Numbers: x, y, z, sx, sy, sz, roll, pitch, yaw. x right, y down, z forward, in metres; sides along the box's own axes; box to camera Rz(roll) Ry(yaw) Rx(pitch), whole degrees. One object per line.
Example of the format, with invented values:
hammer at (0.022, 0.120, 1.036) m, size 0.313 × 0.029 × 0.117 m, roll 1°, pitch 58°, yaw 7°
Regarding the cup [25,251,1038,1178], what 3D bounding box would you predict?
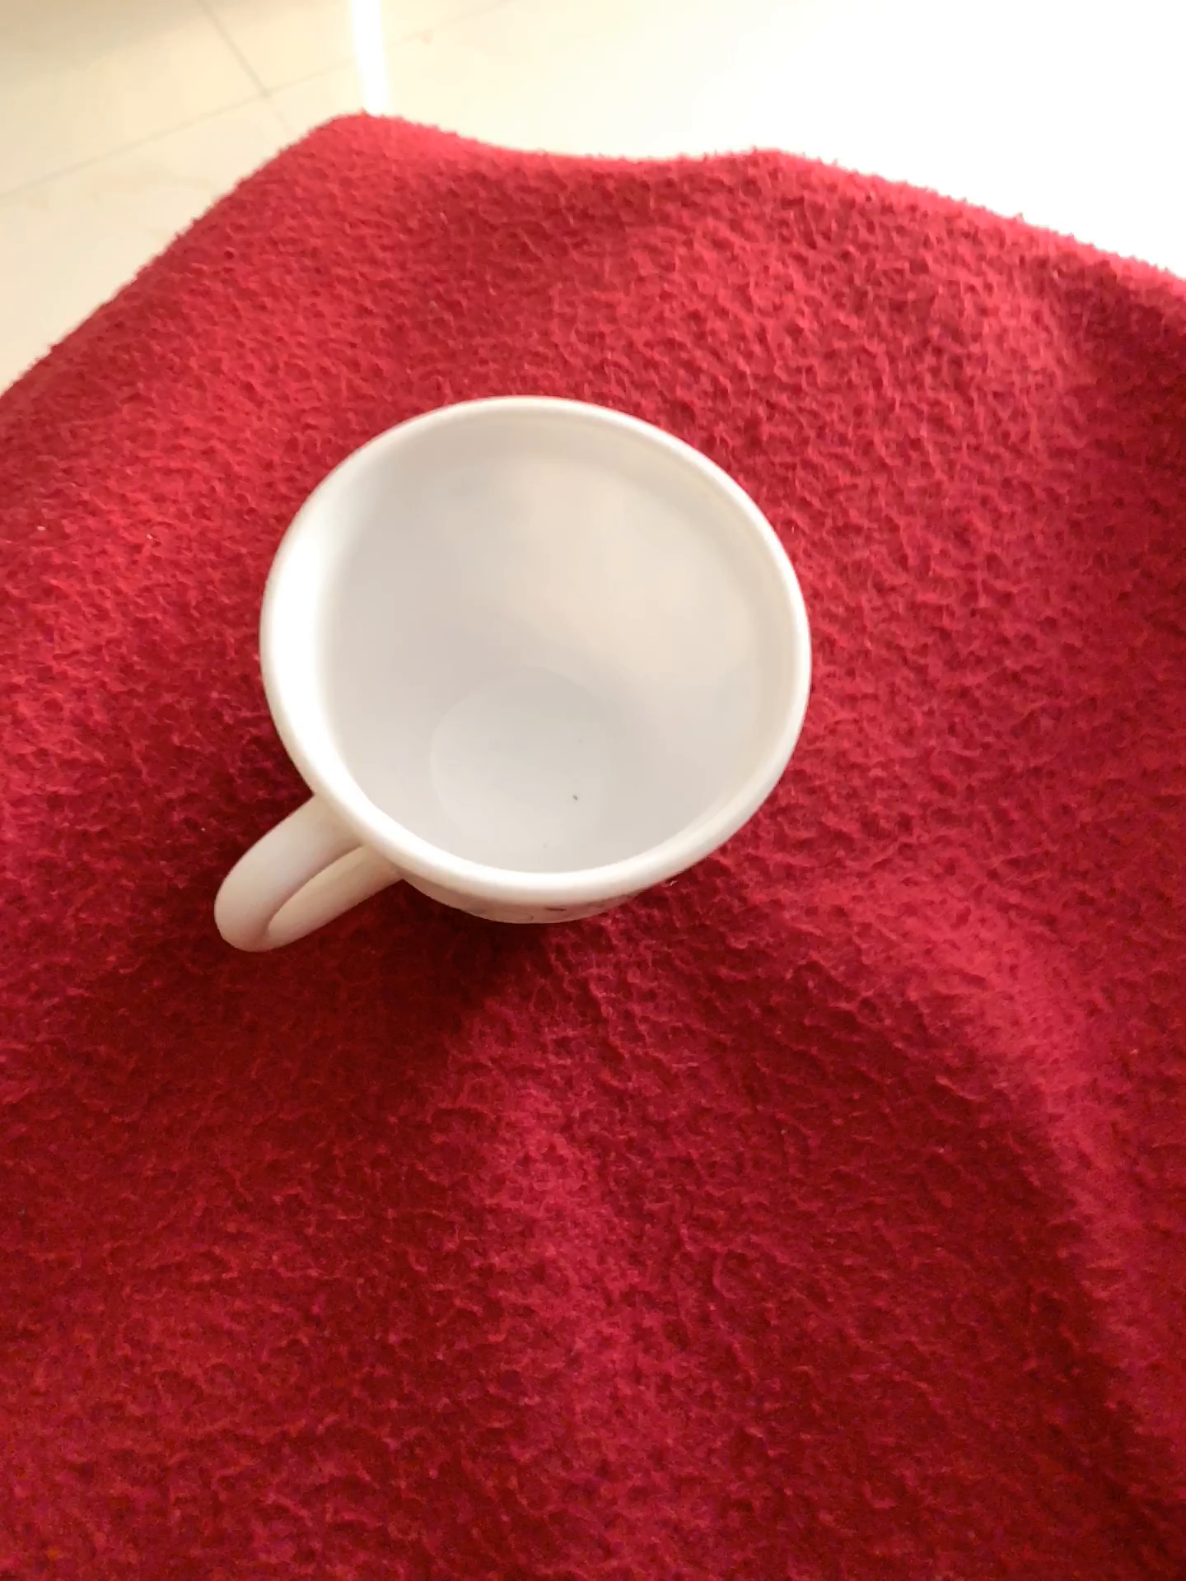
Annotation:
cup at (-0.008, -0.011, 0.180) m, size 0.100 × 0.050 × 0.080 m, roll -38°, pitch 75°, yaw -15°
